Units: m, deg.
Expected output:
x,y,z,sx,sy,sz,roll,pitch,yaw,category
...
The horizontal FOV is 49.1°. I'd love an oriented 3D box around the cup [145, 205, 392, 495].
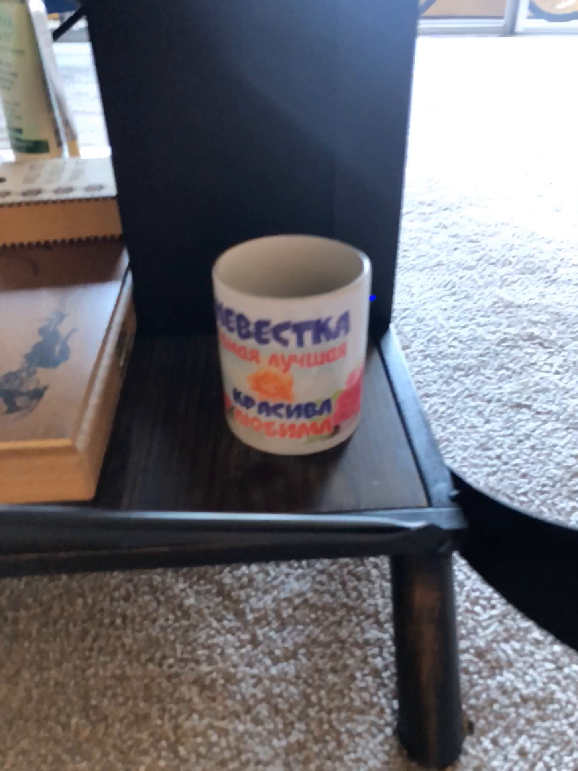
x,y,z,sx,sy,sz,roll,pitch,yaw,category
-0.002,-0.030,0.370,0.090,0.099,0.141,10,36,16,cup
